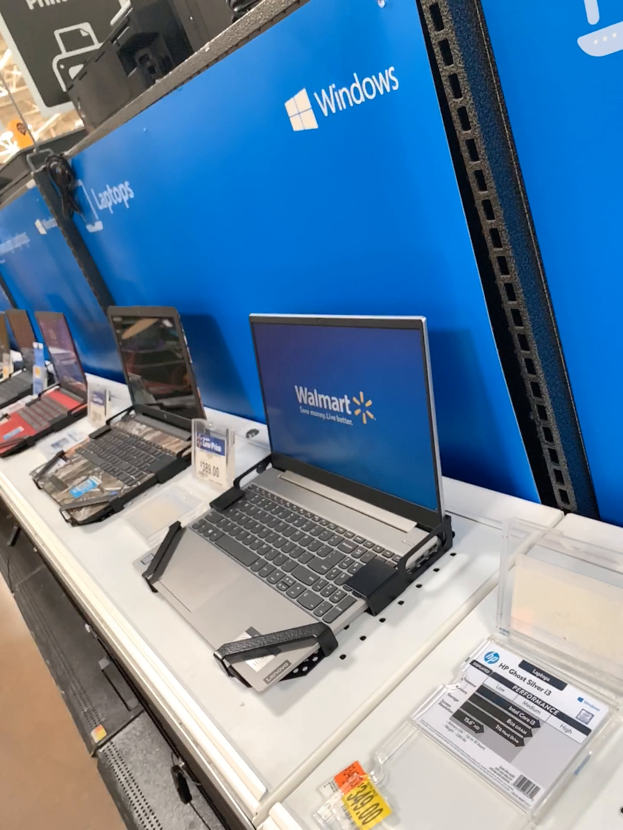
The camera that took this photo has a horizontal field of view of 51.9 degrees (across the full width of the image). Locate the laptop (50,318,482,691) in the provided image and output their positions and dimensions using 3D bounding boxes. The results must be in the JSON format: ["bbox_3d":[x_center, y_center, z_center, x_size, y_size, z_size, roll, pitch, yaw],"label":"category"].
[{"bbox_3d":[-0.067,0.054,0.728,0.298,0.217,0.352,-33,24,-25],"label":"laptop"}]
